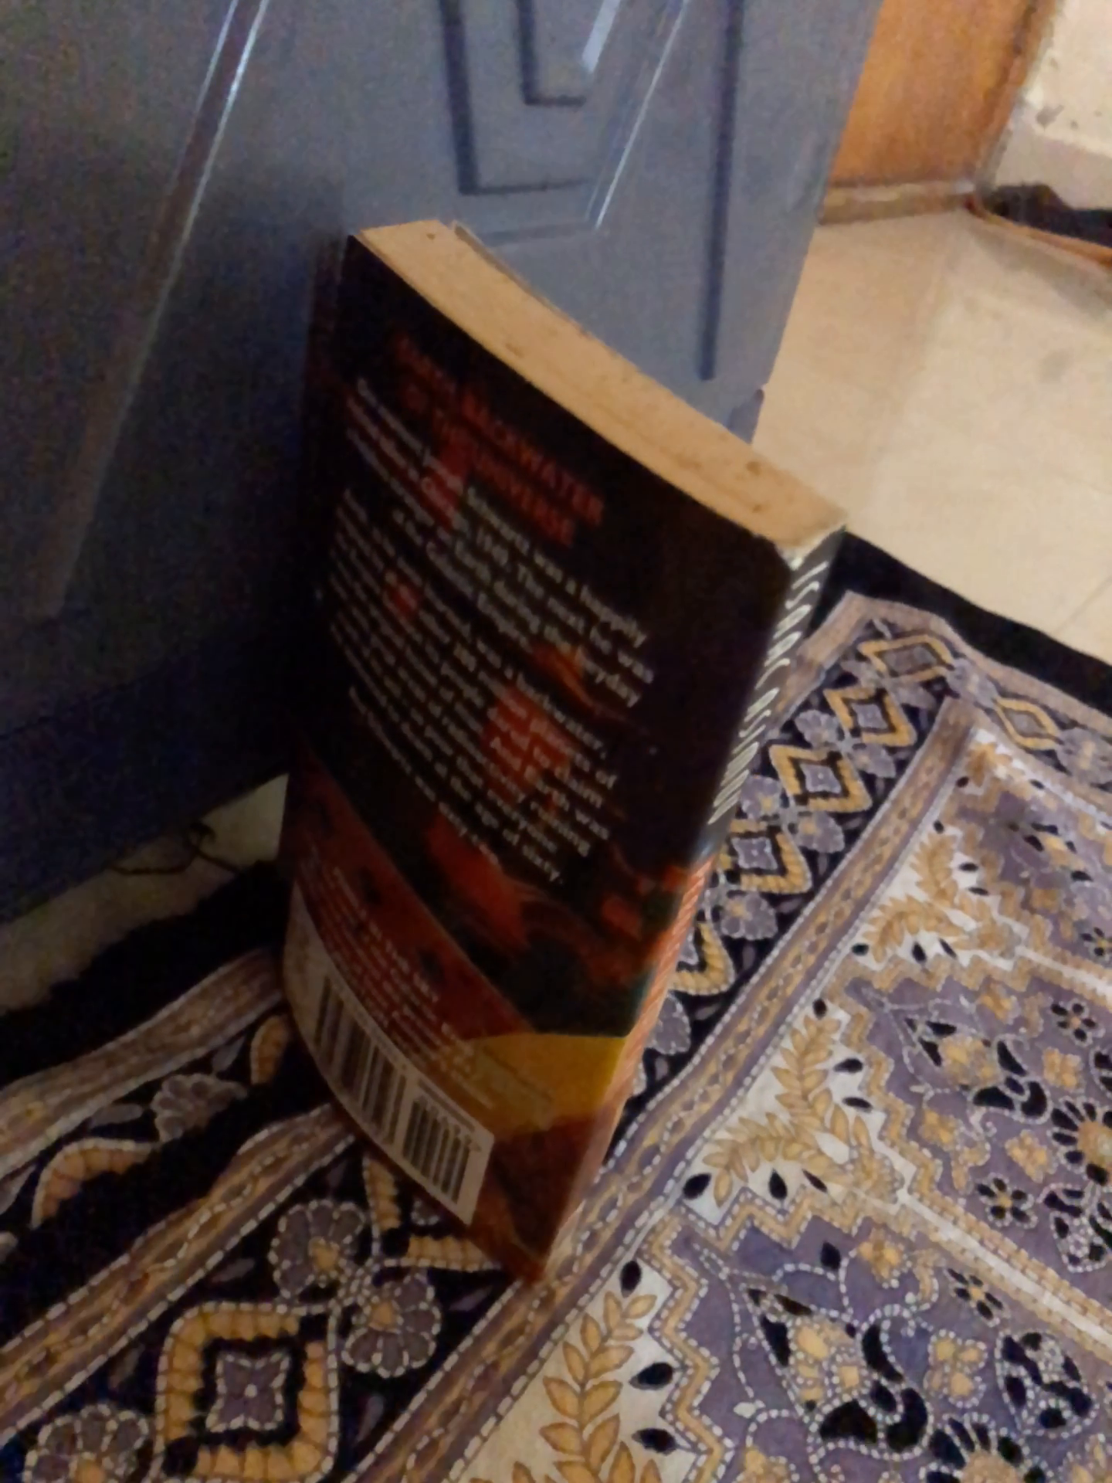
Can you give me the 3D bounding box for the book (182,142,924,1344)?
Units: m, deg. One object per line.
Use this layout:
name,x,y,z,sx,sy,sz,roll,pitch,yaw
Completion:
book,-0.027,0.002,0.250,0.030,0.189,0.150,-18,45,-36
